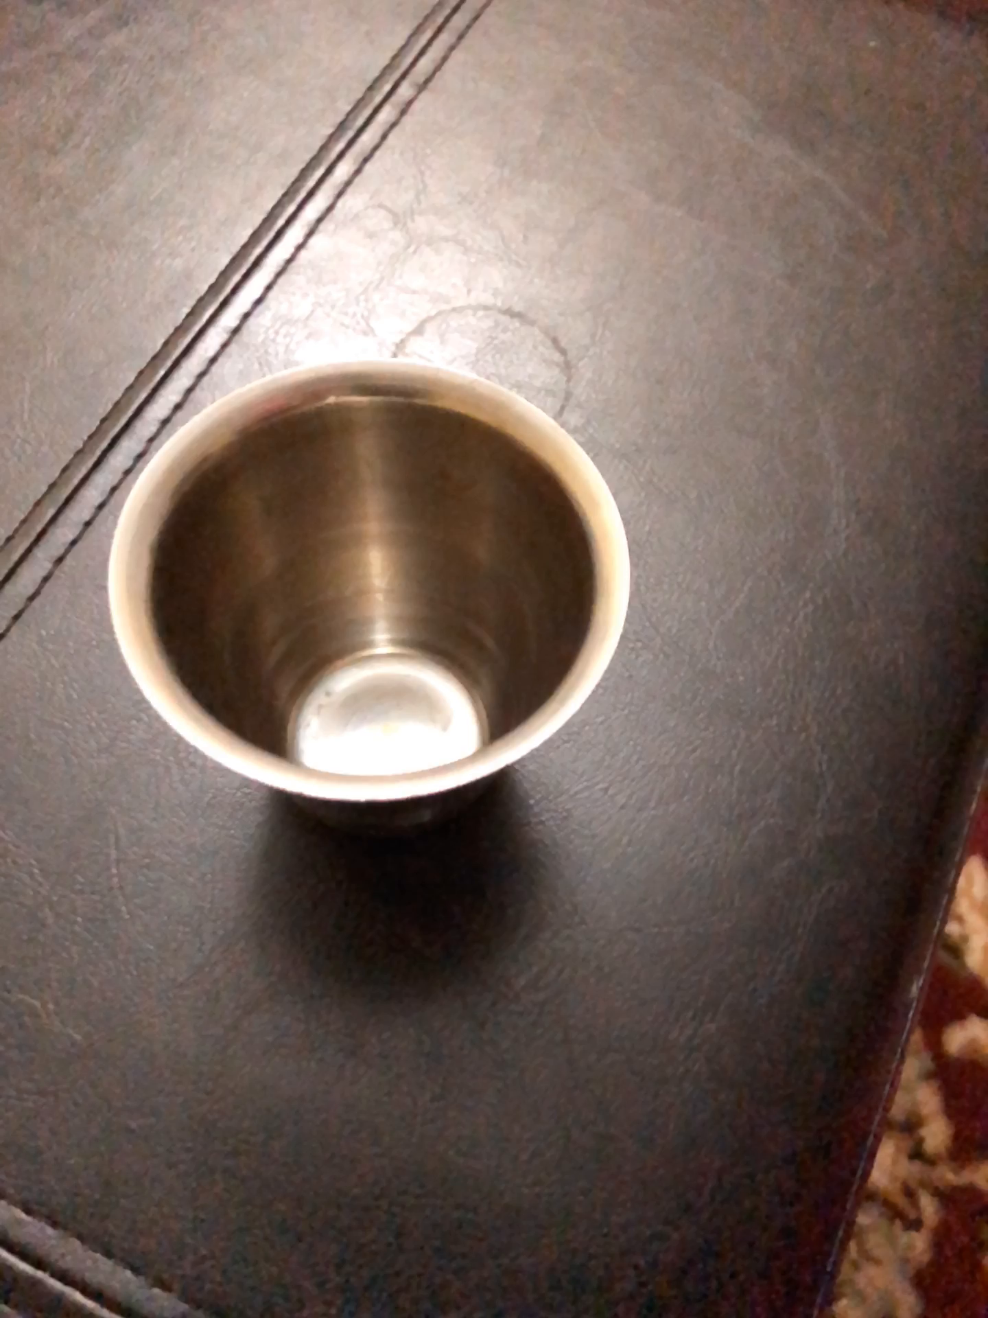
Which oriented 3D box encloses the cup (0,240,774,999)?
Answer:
[{"bbox_3d":[-0.013,-0.005,0.165,0.067,0.052,0.074,1,64,-2],"label":"cup"}]
